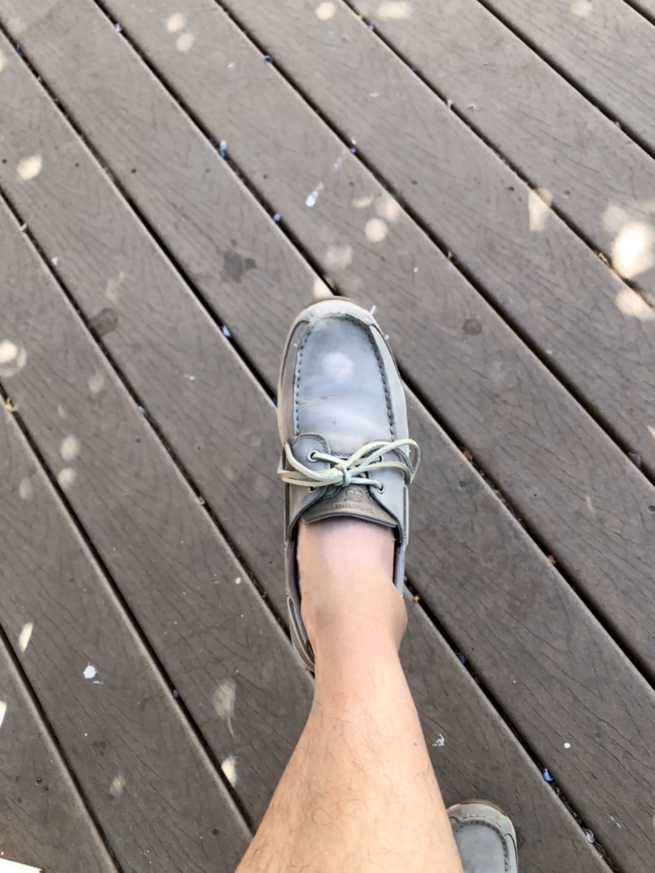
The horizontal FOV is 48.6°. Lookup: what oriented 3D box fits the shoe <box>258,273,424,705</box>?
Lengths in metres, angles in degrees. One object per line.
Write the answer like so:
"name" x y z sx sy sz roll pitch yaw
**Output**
"shoe" 0.014 0.038 0.566 0.115 0.085 0.306 -1 85 9
